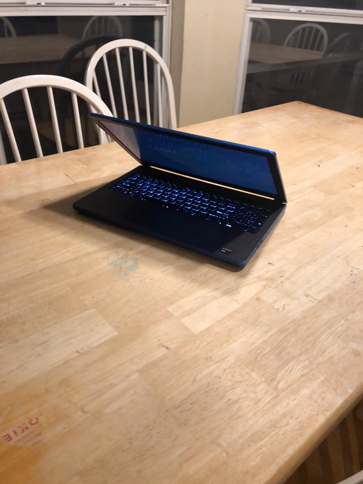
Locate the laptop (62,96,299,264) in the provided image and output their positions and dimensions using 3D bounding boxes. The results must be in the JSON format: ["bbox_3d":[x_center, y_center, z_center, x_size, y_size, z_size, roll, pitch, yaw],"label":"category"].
[{"bbox_3d":[0.002,-0.144,0.765,0.361,0.159,0.249,18,36,21],"label":"laptop"}]
